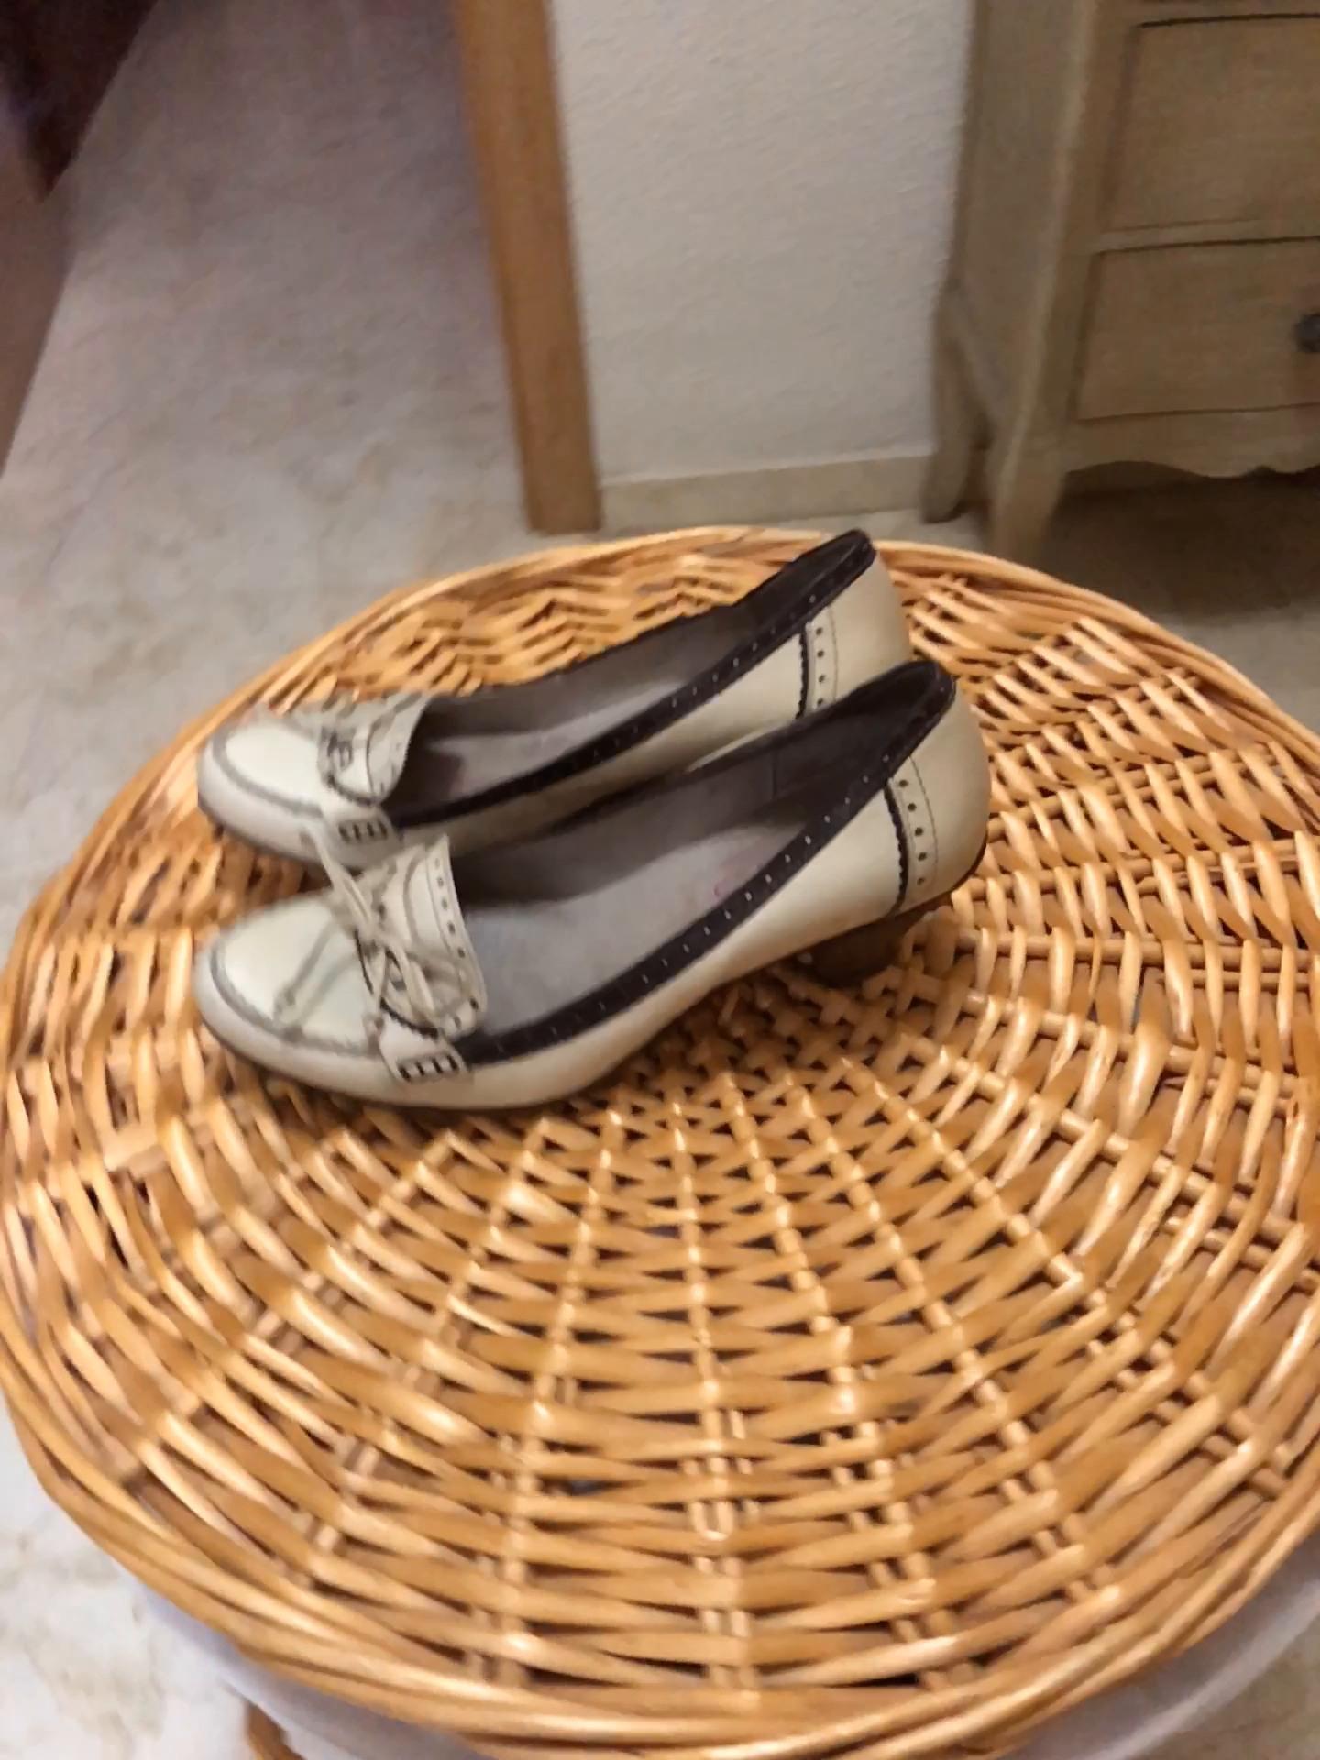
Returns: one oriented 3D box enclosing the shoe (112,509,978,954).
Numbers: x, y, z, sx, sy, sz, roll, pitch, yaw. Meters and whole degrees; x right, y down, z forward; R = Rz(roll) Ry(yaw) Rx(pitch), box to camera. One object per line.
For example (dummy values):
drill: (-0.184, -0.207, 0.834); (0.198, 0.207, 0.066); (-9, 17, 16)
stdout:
shoe: (-0.032, -0.050, 0.510); (0.260, 0.110, 0.100); (-1, 44, 4)

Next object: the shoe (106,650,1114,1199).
shoe: (-0.014, 0.012, 0.441); (0.260, 0.090, 0.100); (-7, 43, -2)
